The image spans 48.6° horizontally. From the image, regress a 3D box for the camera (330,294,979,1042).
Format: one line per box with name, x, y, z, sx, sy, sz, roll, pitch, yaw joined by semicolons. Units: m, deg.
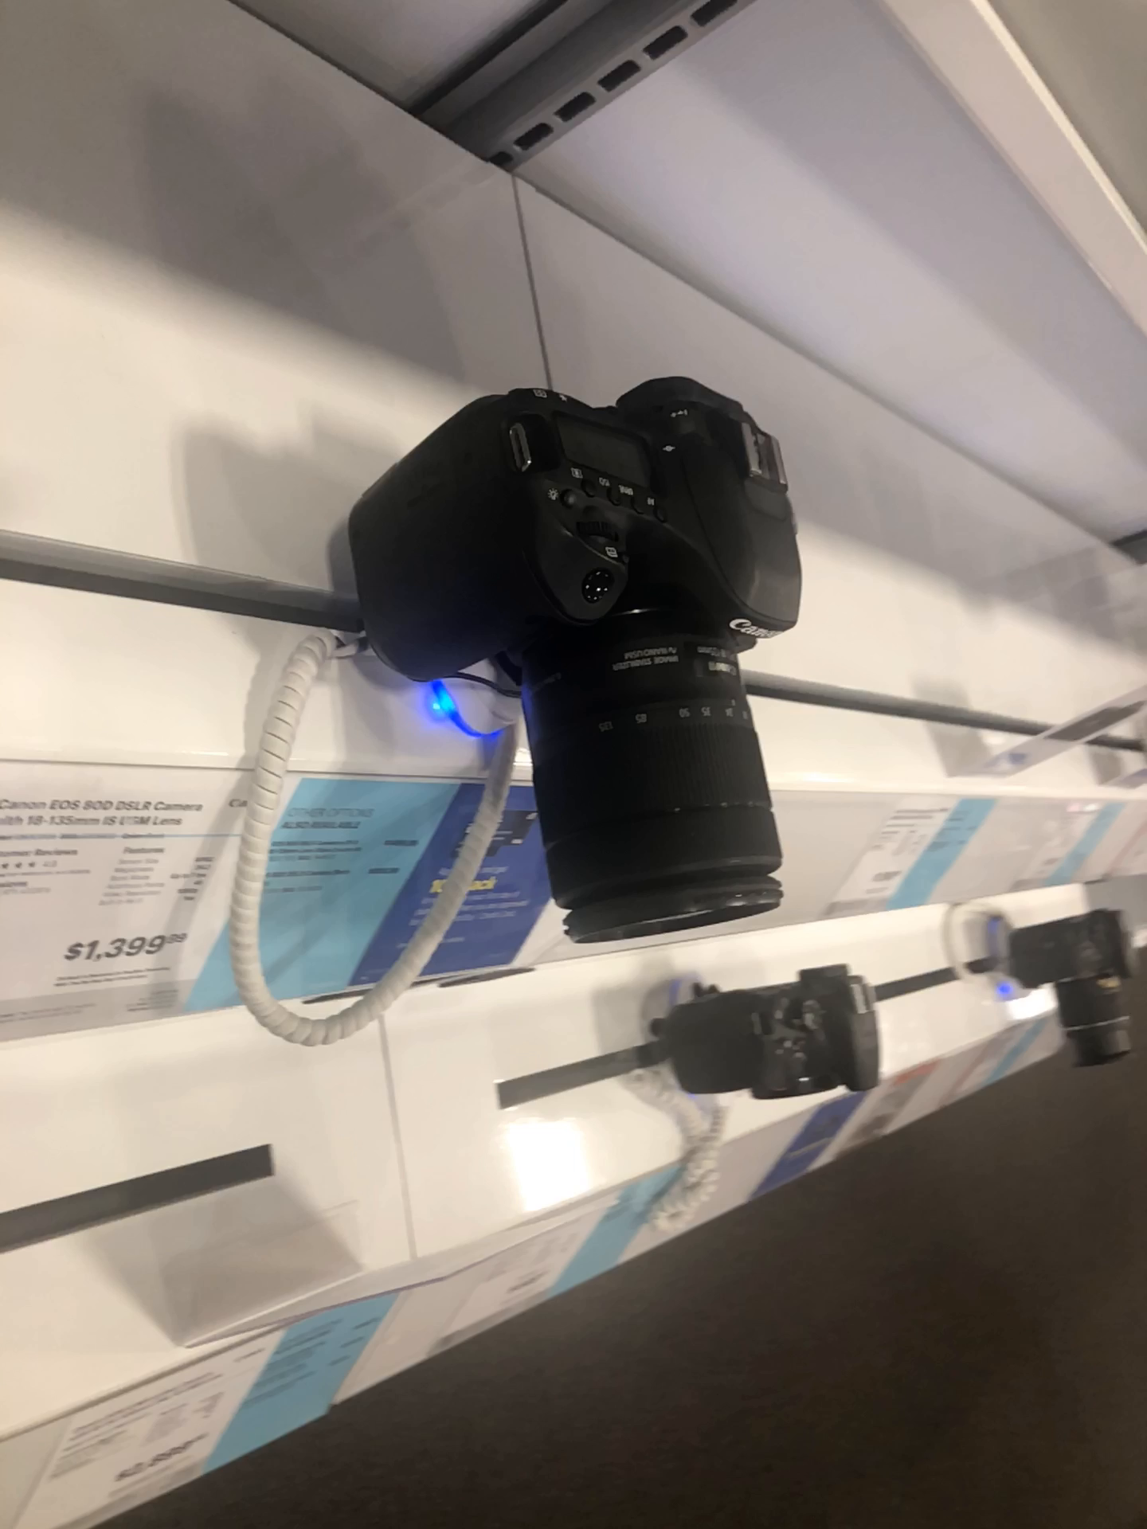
camera;0.029;-0.020;0.407;0.151;0.109;0.180;2;74;-53
